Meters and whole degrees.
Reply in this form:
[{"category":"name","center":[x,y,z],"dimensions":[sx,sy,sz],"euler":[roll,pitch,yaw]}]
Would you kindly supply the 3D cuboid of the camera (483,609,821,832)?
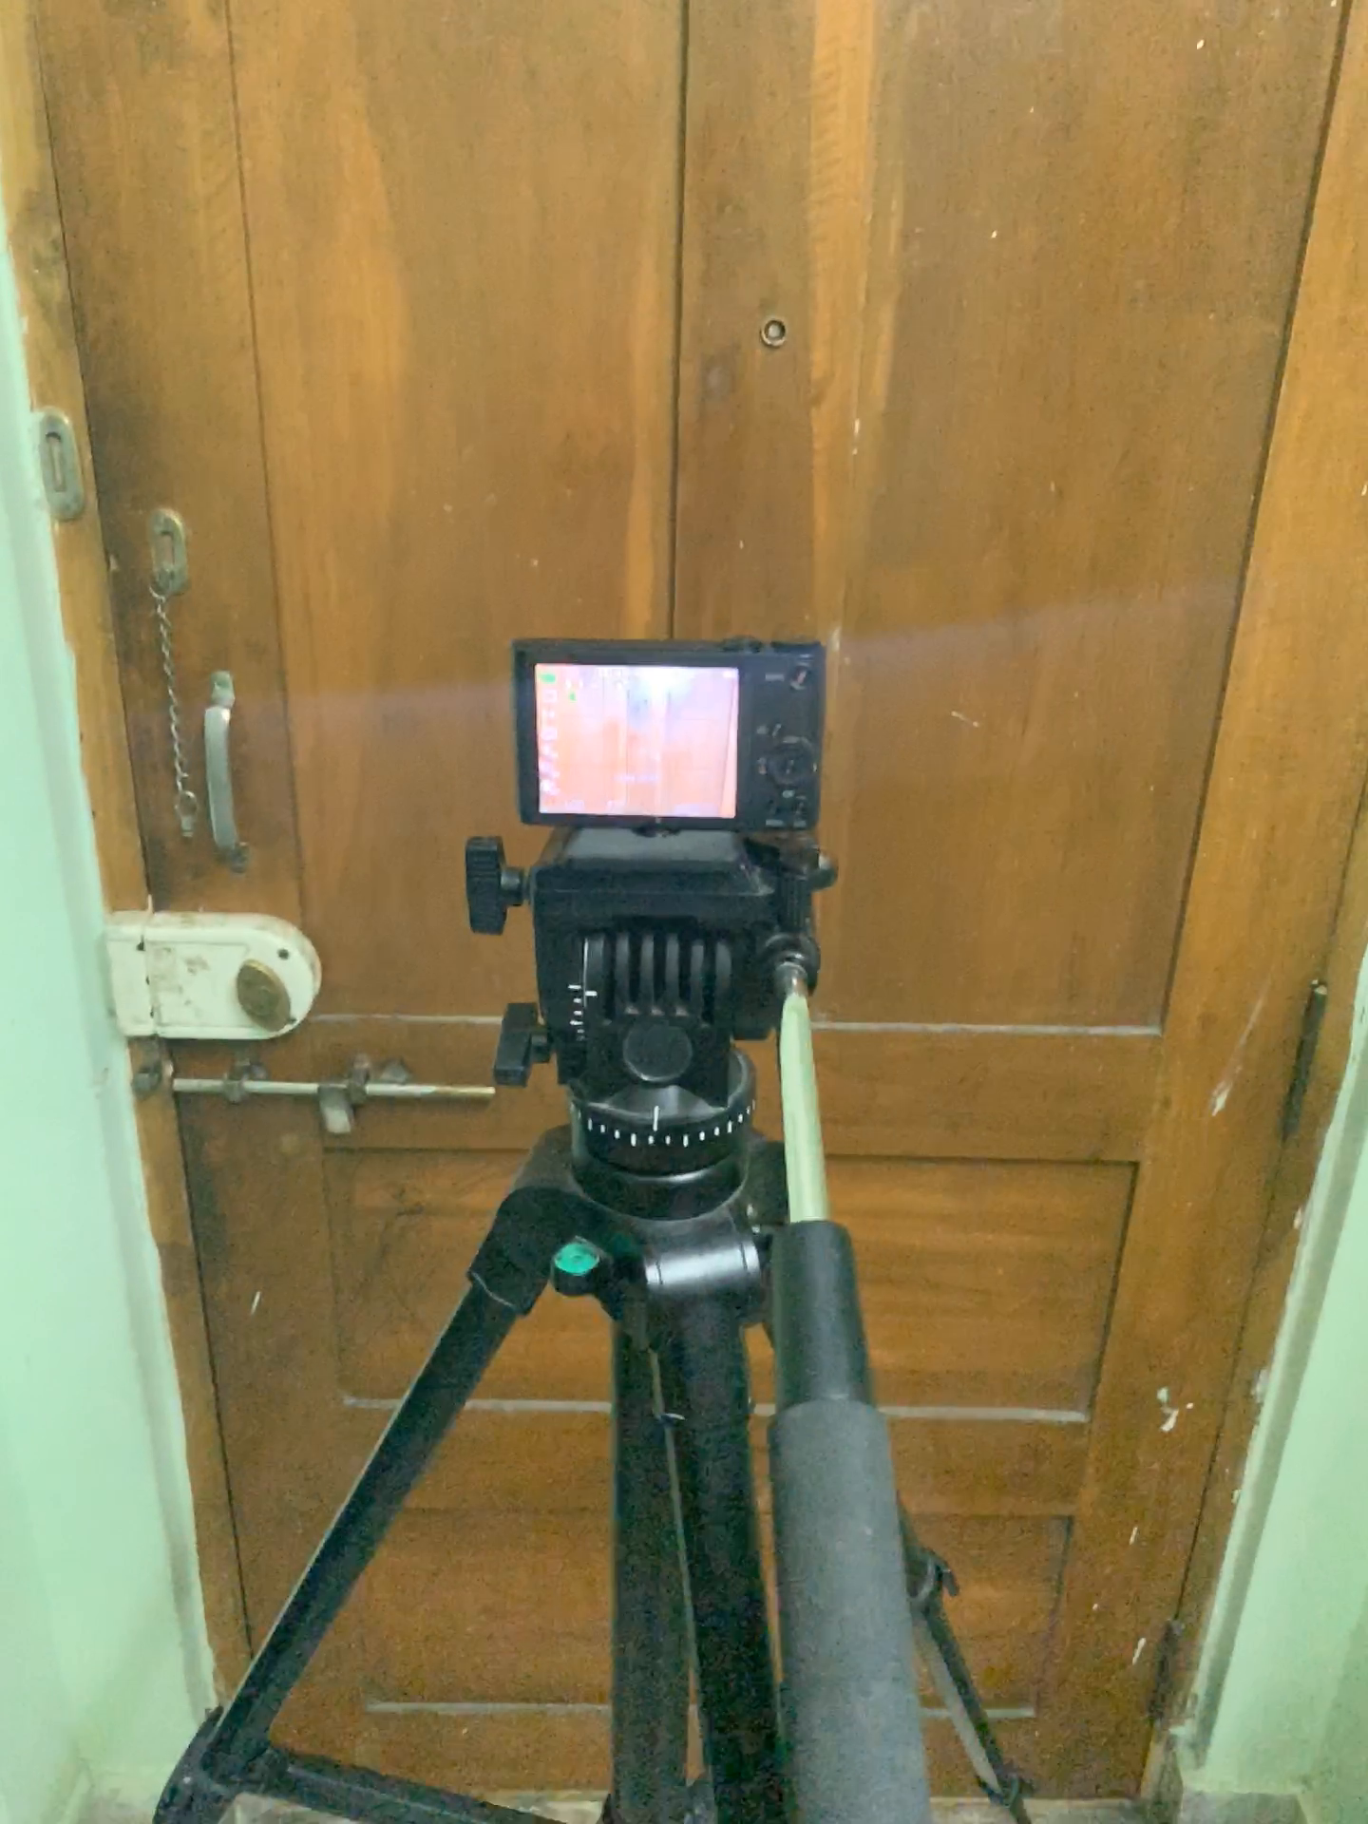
[{"category":"camera","center":[-0.010,-0.061,0.441],"dimensions":[0.100,0.060,0.040],"euler":[3,17,2]}]
